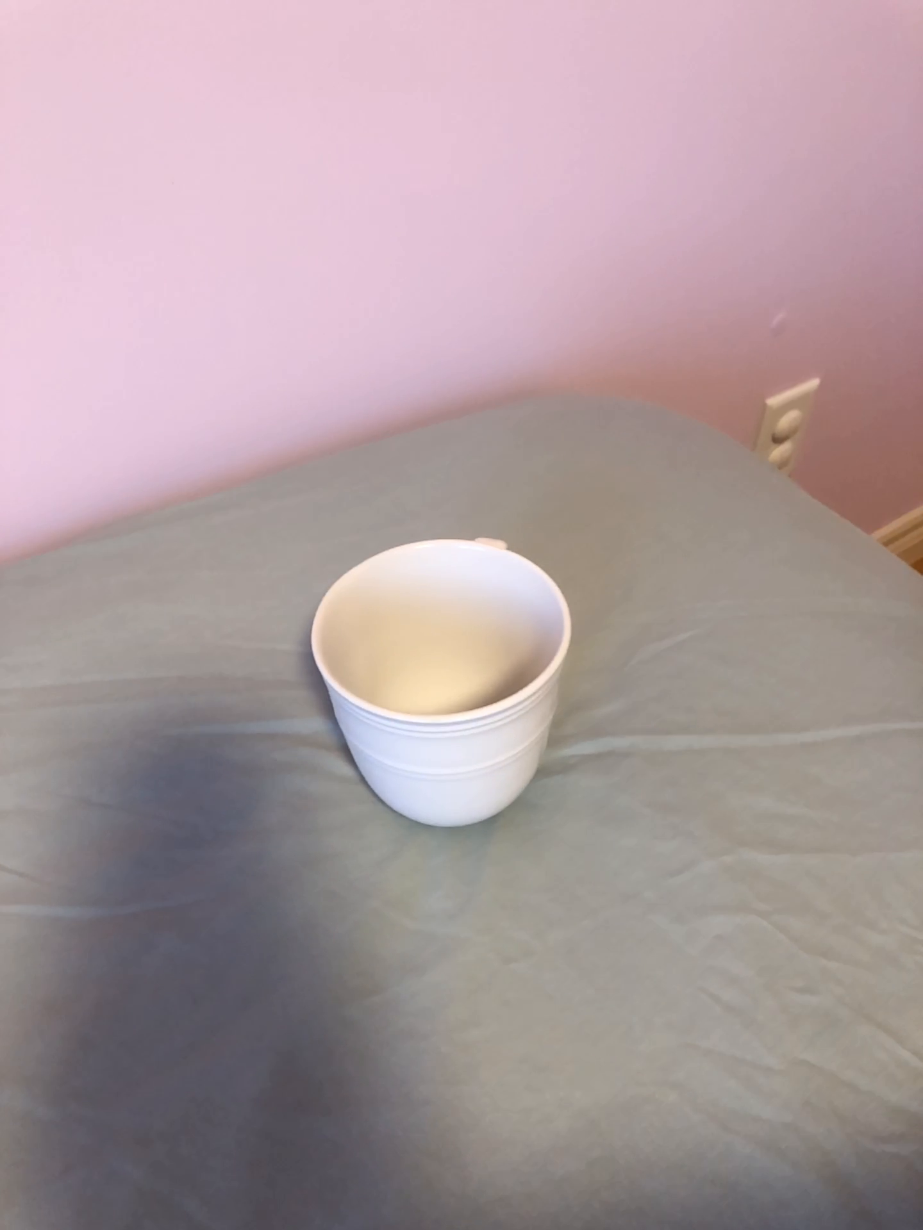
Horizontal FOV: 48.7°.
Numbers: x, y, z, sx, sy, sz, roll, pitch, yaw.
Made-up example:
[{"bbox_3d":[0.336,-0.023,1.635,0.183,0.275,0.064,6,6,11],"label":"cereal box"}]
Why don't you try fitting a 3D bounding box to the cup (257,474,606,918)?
[{"bbox_3d":[-0.004,0.029,0.432,0.100,0.100,0.140,11,46,11],"label":"cup"}]
